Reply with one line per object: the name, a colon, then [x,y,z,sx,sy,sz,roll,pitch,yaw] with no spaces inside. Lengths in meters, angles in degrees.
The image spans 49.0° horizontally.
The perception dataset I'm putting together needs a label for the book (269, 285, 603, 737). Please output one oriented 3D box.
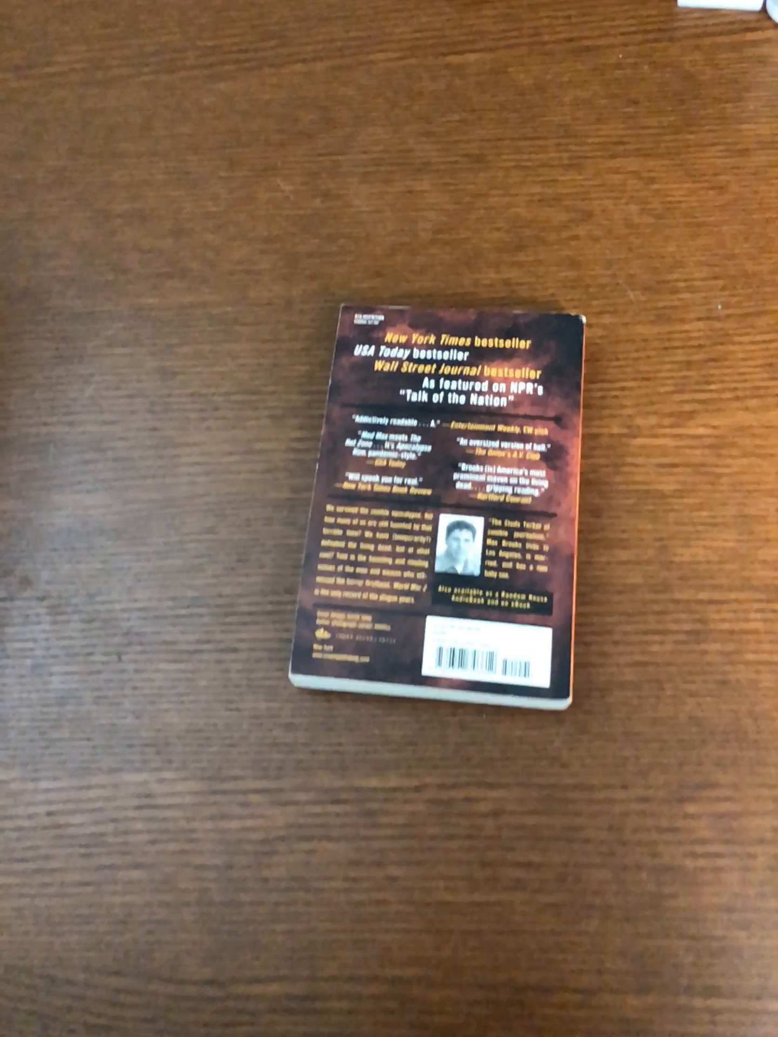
book: [0.030,-0.012,0.431,0.140,0.030,0.220,5,71,8]
